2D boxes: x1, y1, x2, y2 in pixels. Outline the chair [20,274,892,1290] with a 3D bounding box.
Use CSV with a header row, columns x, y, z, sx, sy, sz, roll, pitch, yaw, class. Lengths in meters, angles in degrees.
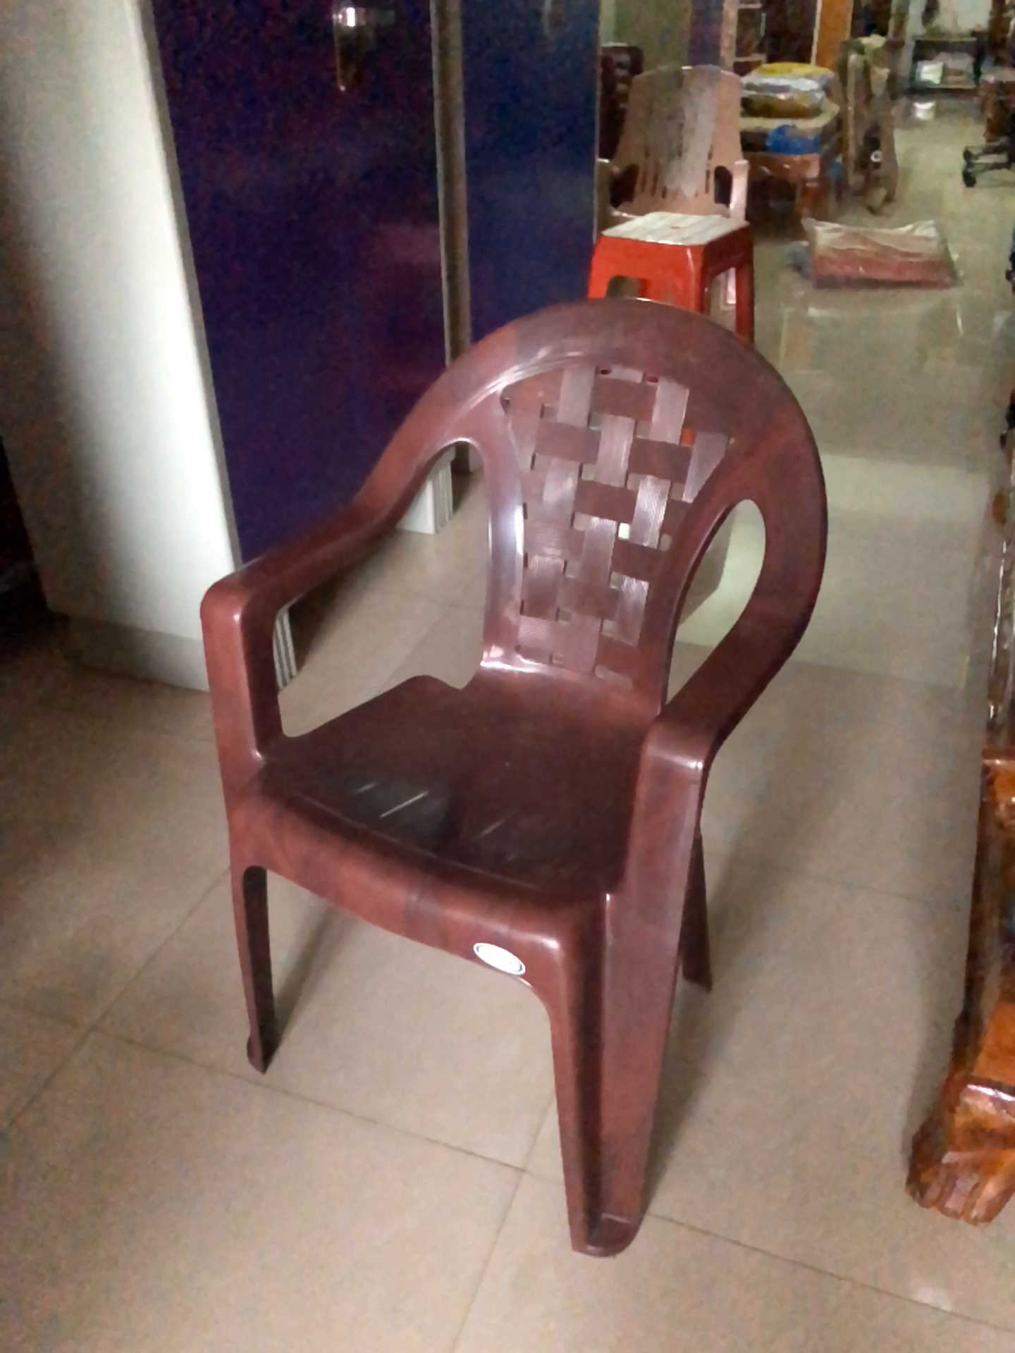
x,y,z,sx,sy,sz,roll,pitch,yaw,class
0.000,0.063,1.281,0.600,0.835,0.613,16,36,25,chair
